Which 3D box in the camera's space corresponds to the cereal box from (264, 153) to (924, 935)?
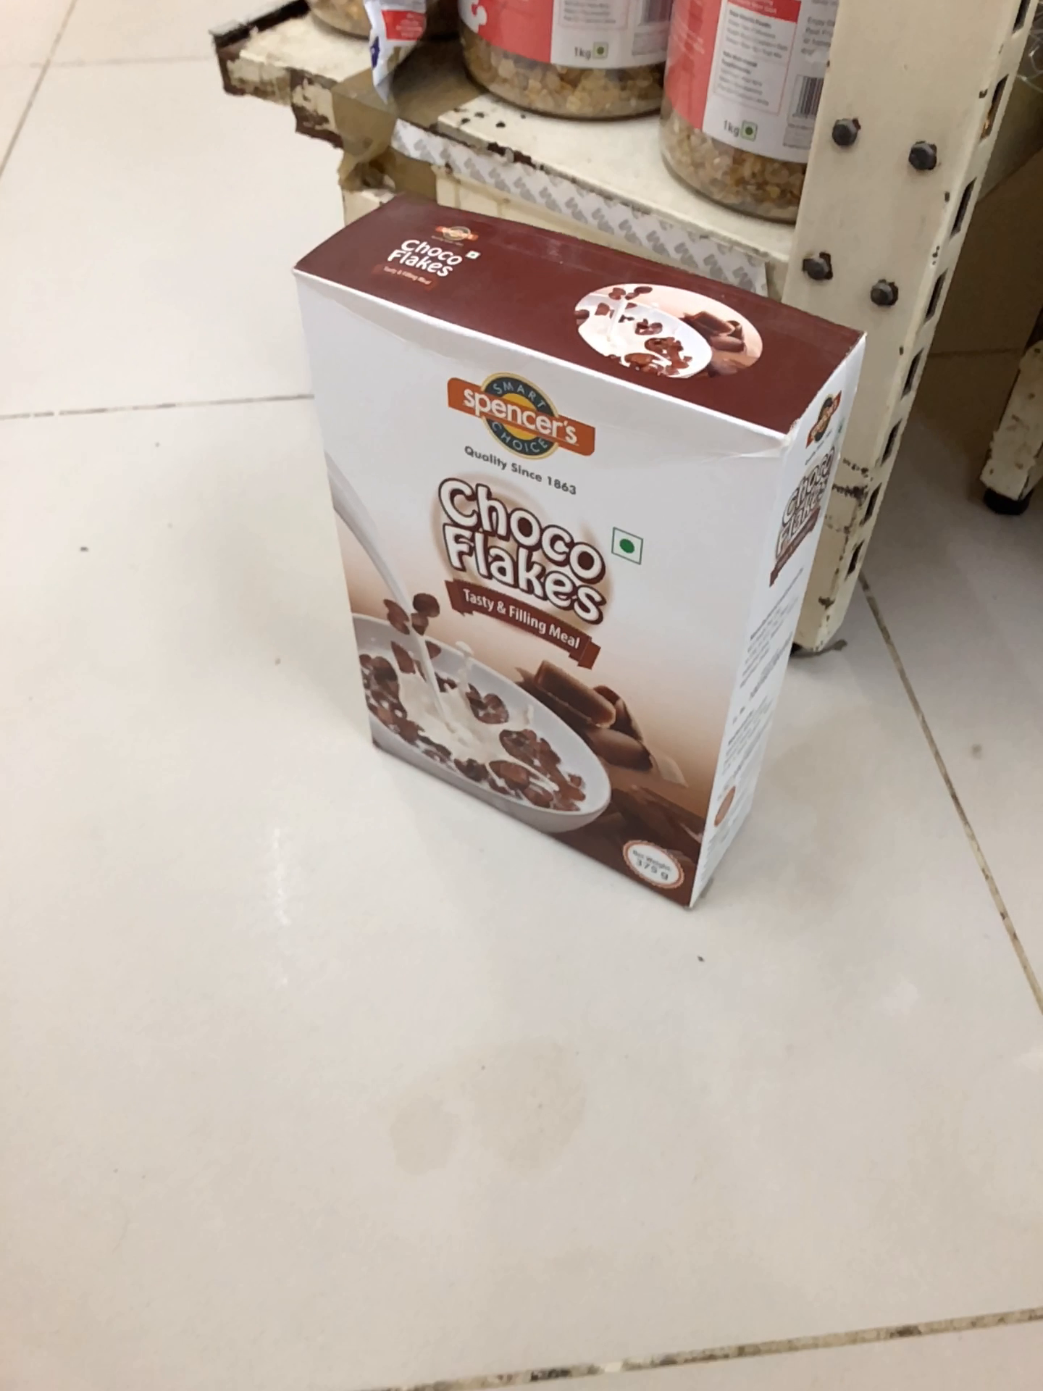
[{"bbox_3d":[0.019,-0.042,0.437,0.190,0.258,0.060,25,54,22],"label":"cereal box"}]
